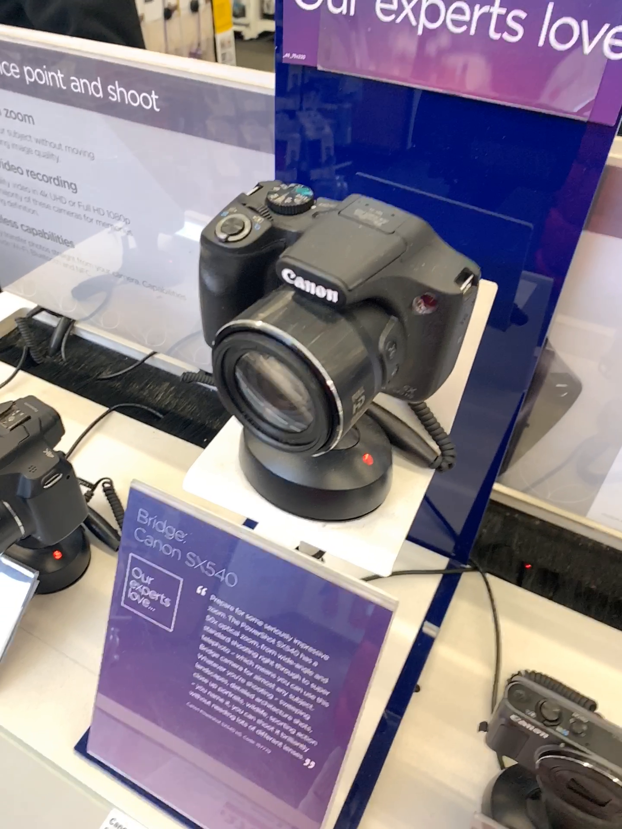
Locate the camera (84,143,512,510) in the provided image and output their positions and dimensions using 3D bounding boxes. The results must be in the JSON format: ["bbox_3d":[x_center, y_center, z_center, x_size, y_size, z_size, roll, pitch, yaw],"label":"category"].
[{"bbox_3d":[-0.003,-0.046,0.265,0.120,0.069,0.111,26,48,23],"label":"camera"}]
